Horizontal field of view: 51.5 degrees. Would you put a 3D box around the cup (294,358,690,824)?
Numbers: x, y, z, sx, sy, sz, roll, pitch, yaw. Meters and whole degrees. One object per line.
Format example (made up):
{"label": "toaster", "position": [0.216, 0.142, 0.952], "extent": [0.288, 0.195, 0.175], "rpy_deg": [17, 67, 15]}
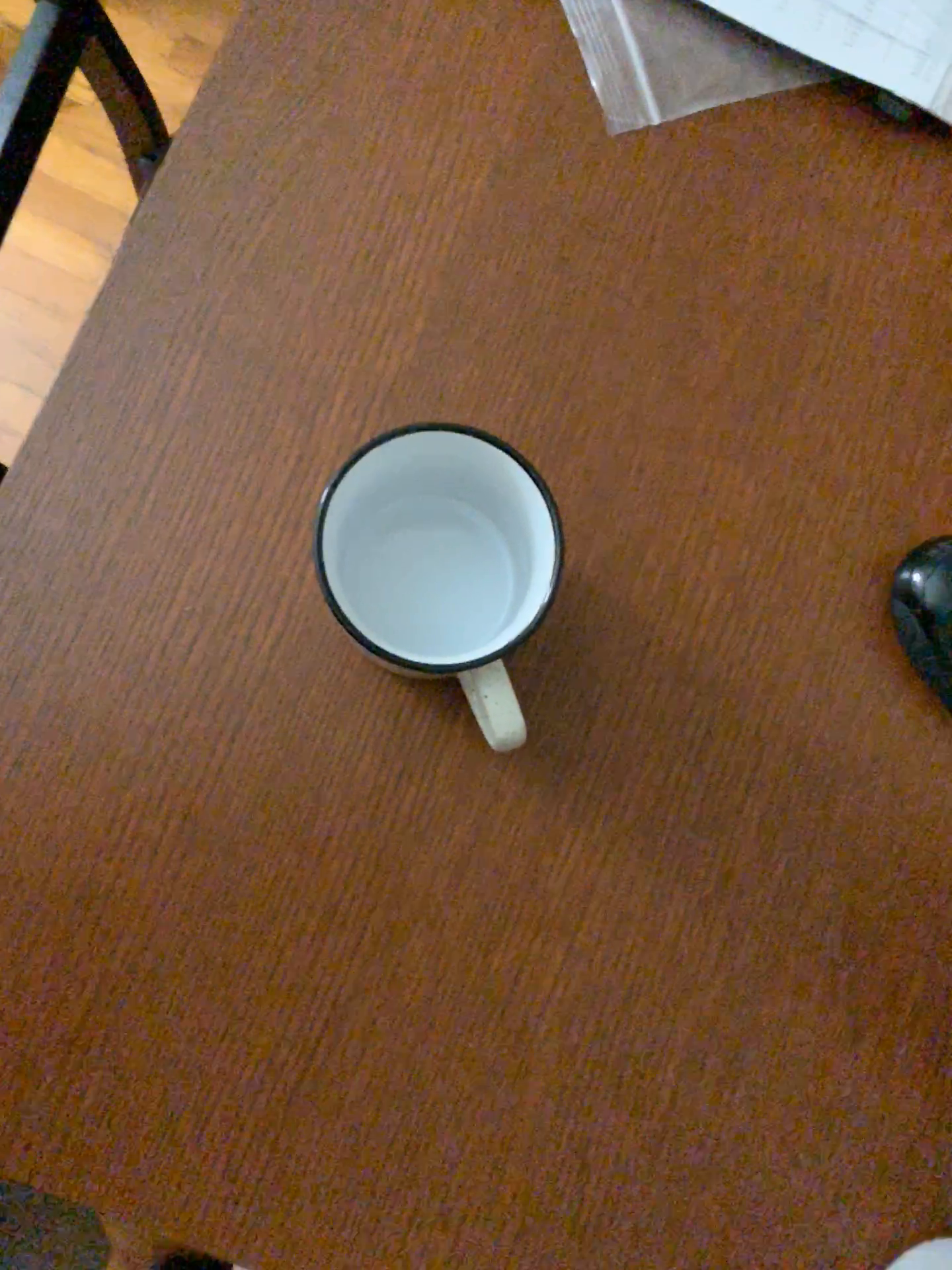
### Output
{"label": "cup", "position": [0.001, -0.013, 0.417], "extent": [0.100, 0.100, 0.150], "rpy_deg": [-21, 86, -8]}
